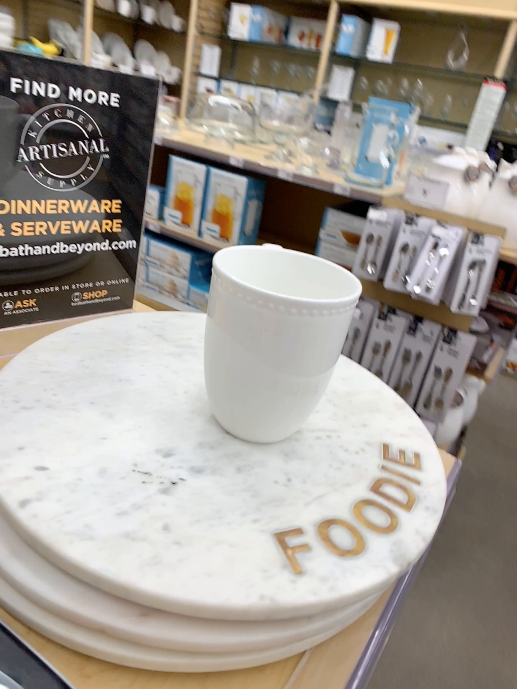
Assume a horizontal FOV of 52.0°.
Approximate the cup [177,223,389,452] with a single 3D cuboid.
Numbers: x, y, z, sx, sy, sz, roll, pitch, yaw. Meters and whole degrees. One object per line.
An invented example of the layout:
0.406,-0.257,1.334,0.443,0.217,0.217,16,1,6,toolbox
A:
0.003,-0.010,0.341,0.096,0.093,0.126,5,26,-13,cup
